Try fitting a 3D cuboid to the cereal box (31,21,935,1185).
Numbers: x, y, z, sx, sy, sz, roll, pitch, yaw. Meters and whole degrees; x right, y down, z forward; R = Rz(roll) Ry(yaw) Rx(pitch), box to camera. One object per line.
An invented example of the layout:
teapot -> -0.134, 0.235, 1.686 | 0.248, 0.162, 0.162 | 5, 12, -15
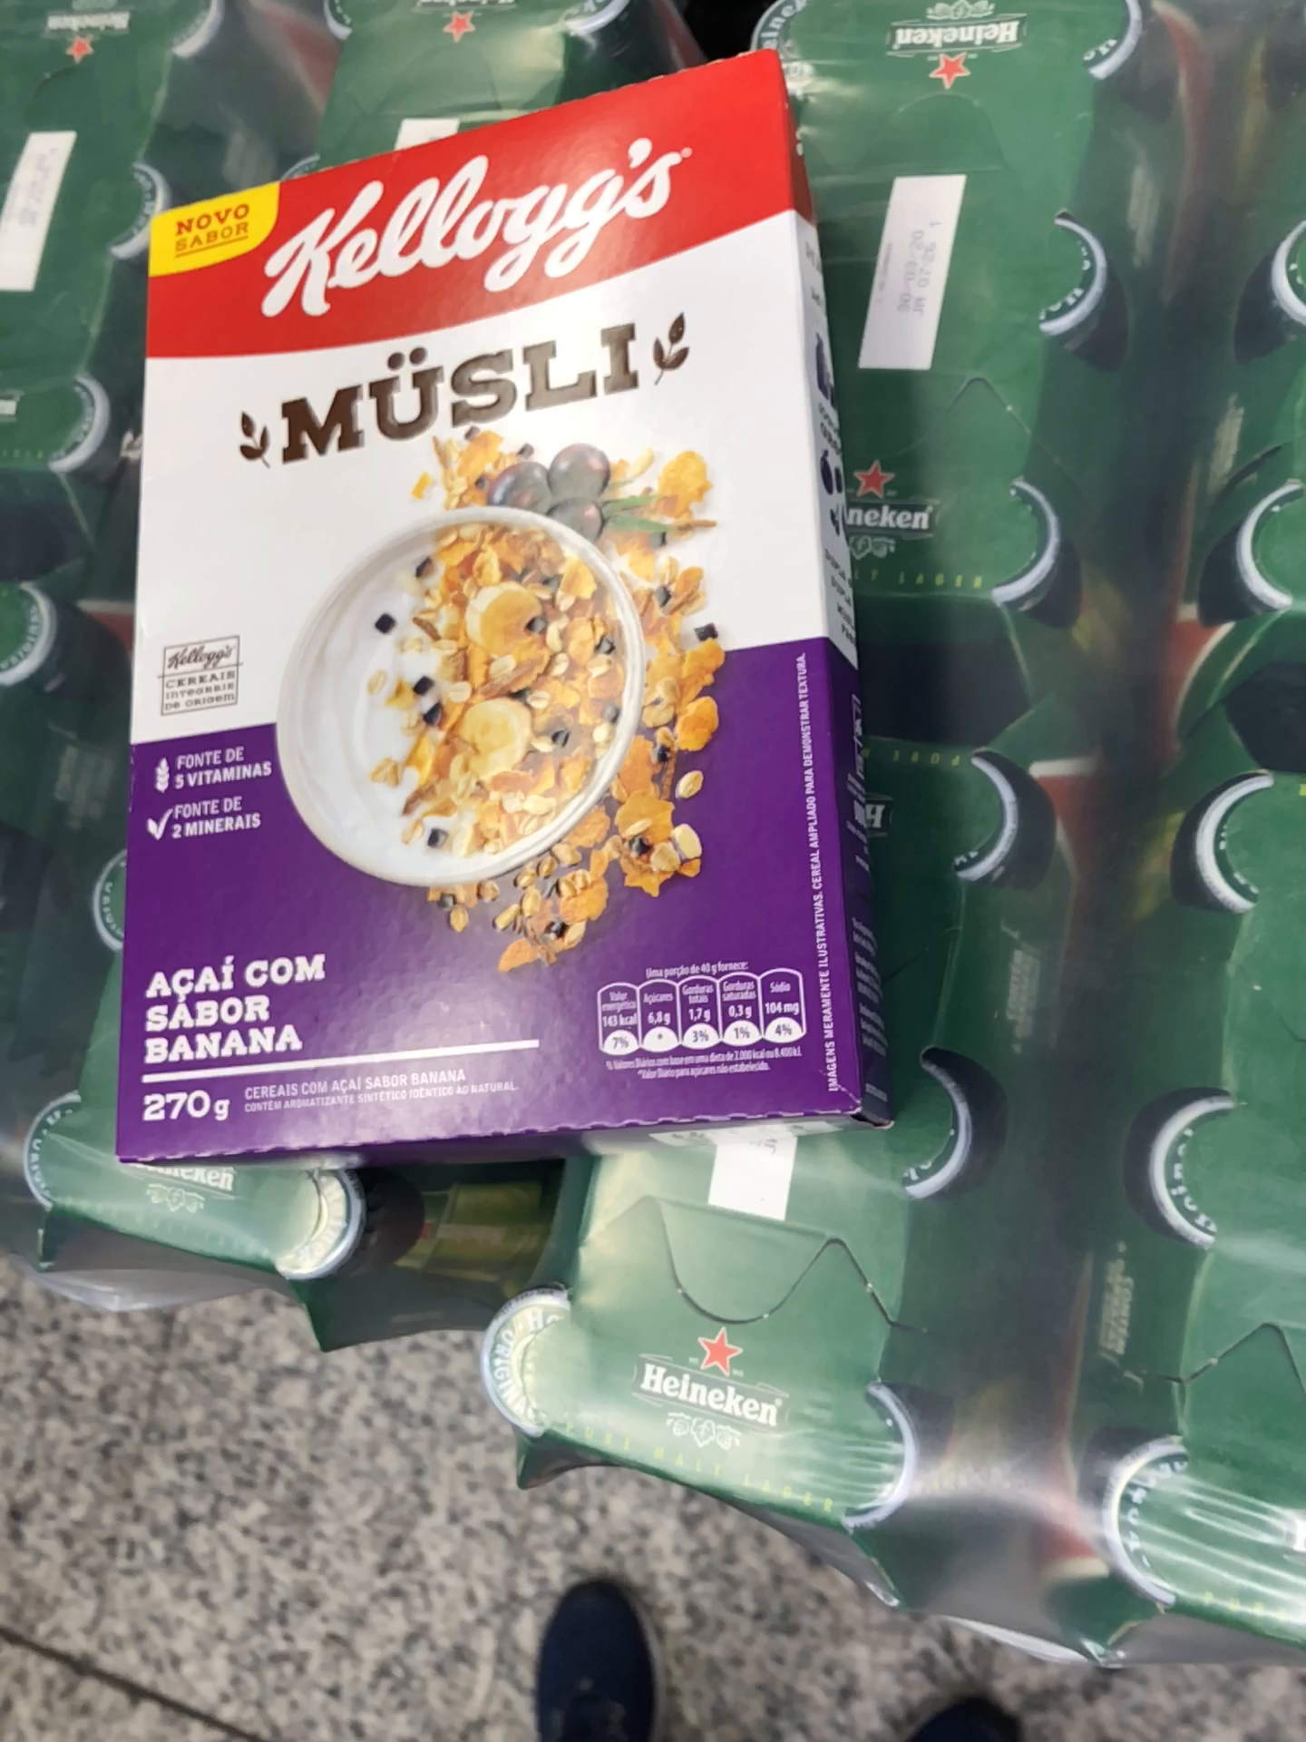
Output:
cereal box -> -0.034, -0.043, 0.271 | 0.150, 0.040, 0.190 | -7, 76, 16
